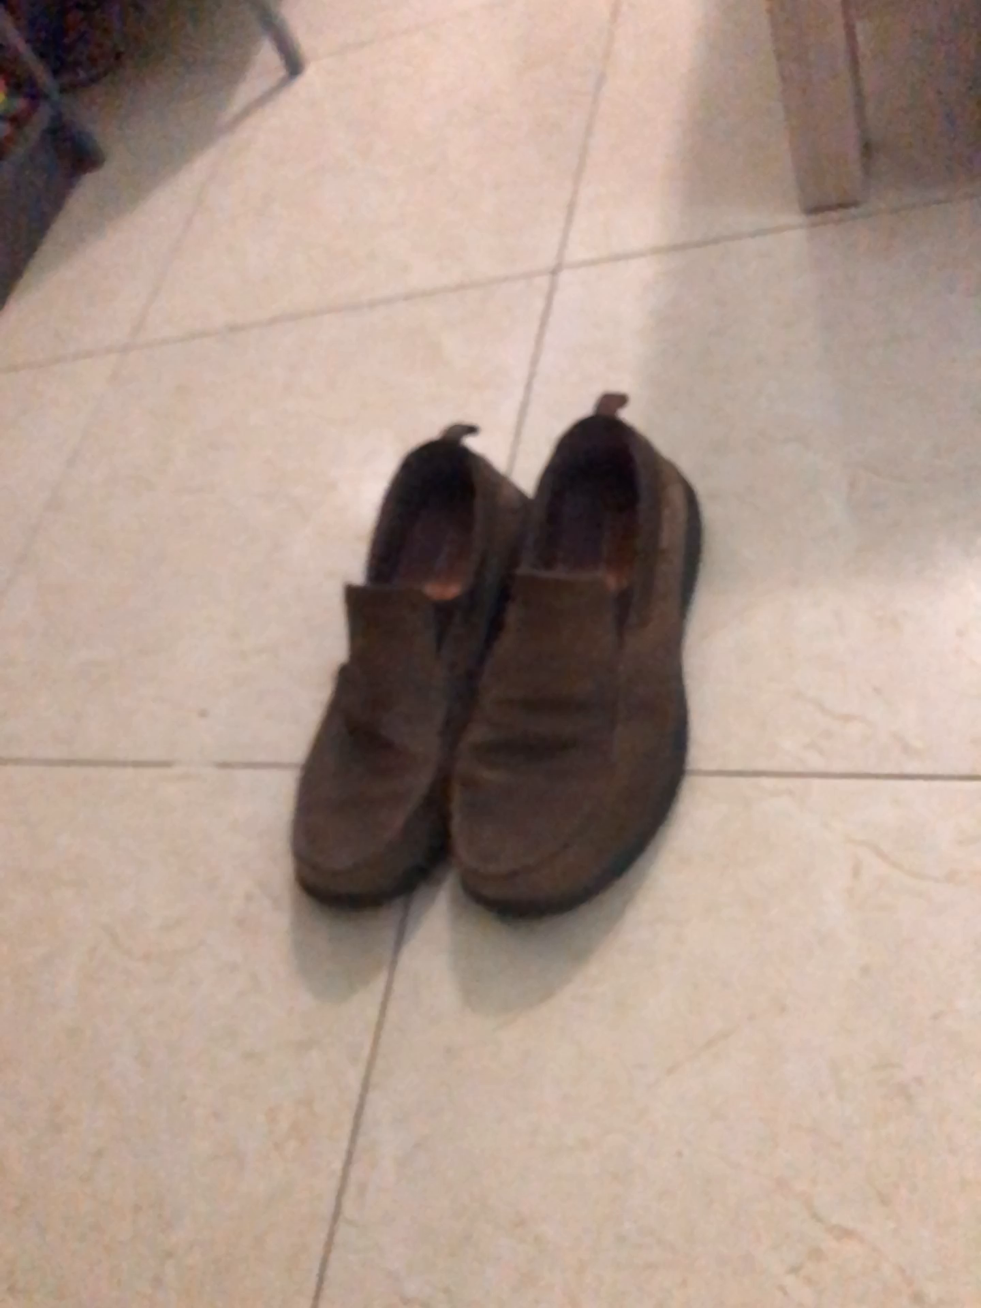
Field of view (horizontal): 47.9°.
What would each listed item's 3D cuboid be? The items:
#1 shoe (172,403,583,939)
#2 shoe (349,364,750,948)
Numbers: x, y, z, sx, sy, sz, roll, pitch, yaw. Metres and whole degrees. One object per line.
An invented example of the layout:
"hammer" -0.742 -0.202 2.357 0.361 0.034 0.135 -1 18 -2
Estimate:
"shoe" -0.053 -0.001 0.661 0.120 0.100 0.300 4 60 27
"shoe" 0.047 -0.009 0.609 0.130 0.100 0.300 2 59 26
